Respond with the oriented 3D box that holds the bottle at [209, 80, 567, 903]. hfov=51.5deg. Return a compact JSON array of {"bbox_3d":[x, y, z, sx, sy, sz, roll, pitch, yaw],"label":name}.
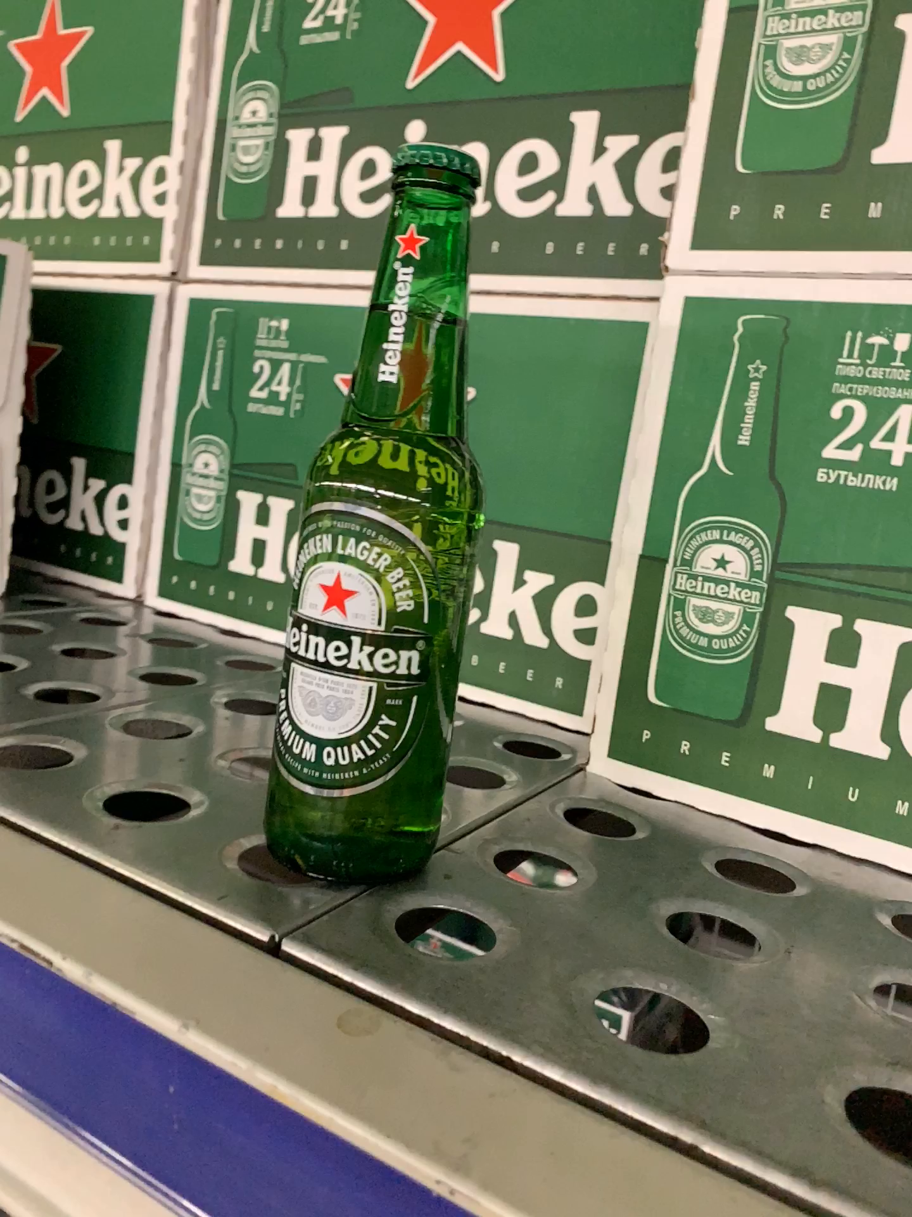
[{"bbox_3d":[-0.022,-0.033,0.298,0.060,0.226,0.060,8,8,-1],"label":"bottle"}]
